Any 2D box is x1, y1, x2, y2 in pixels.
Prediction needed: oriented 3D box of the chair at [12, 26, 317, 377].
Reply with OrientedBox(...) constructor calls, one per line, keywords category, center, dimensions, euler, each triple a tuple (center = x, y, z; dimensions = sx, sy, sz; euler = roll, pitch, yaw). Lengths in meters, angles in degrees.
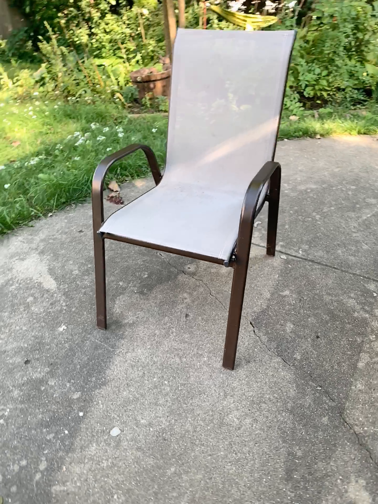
OrientedBox(category="chair", center=(0.014, -0.220, 1.310), dimensions=(0.571, 0.845, 0.744), euler=(13, 40, 19))
